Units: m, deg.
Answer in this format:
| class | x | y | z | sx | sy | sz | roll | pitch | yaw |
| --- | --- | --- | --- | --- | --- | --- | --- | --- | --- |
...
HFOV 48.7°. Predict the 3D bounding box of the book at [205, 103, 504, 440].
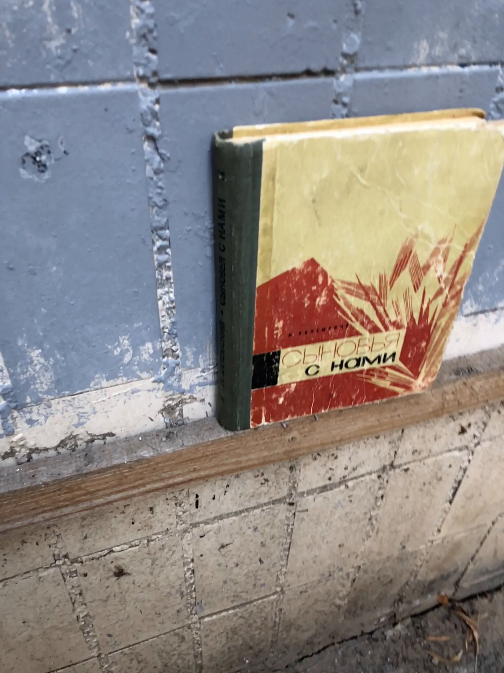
| class | x | y | z | sx | sy | sz | roll | pitch | yaw |
| --- | --- | --- | --- | --- | --- | --- | --- | --- | --- |
| book | 0.050 | -0.029 | 0.293 | 0.140 | 0.162 | 0.032 | -10 | 37 | -15 |
